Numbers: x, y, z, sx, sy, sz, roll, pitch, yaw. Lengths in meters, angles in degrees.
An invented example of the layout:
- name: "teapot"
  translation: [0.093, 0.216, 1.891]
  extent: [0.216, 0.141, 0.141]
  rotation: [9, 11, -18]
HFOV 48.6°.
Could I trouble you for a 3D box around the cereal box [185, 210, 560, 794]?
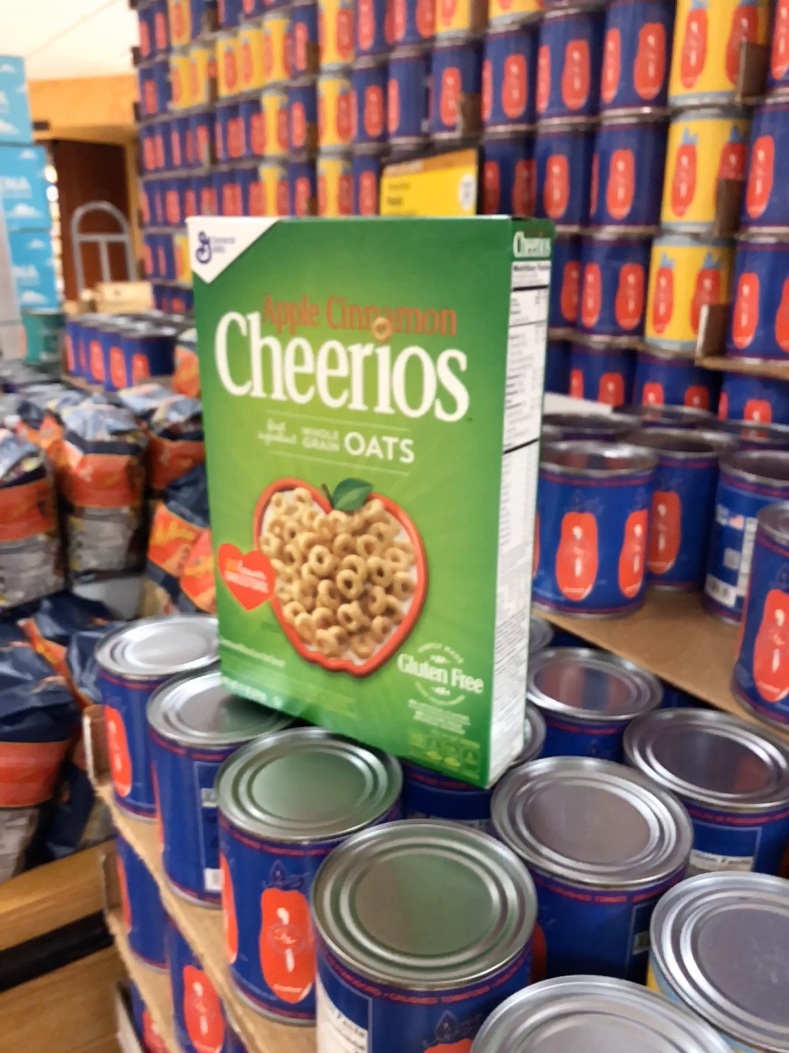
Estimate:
- name: "cereal box"
  translation: [-0.019, -0.022, 0.490]
  extent: [0.200, 0.288, 0.050]
  rotation: [12, 21, 33]
